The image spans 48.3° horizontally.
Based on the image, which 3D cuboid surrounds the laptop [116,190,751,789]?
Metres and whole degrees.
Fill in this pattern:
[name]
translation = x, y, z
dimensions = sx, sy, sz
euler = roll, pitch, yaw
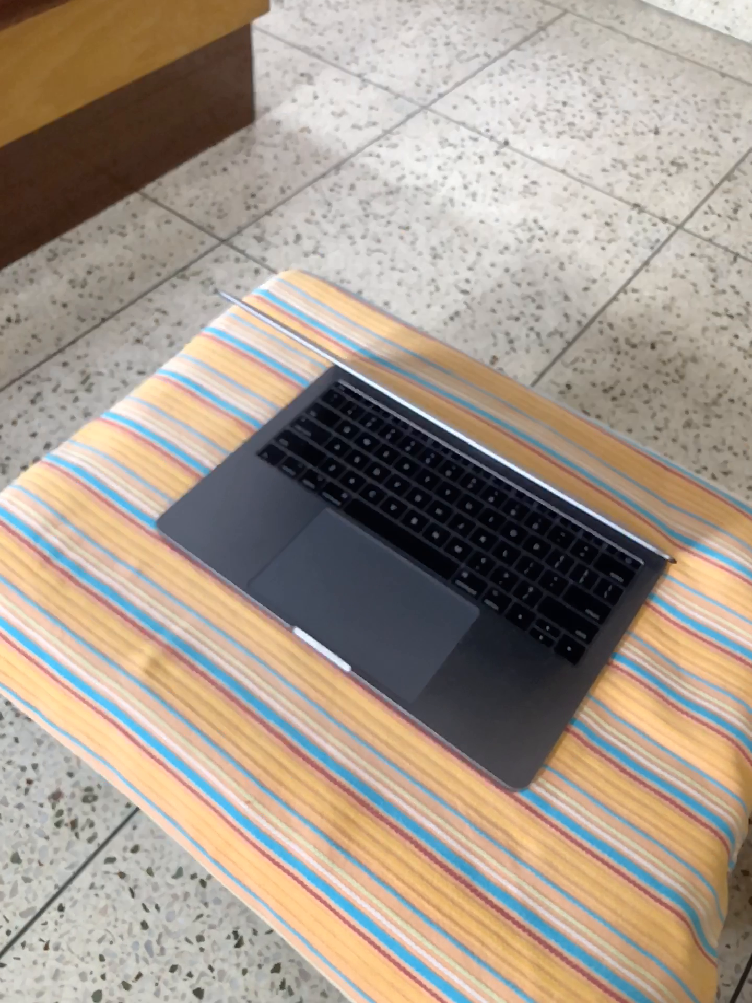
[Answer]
[laptop]
translation = 0.032, -0.019, 0.523
dimensions = 0.295, 0.160, 0.204
euler = 33, 58, 18
